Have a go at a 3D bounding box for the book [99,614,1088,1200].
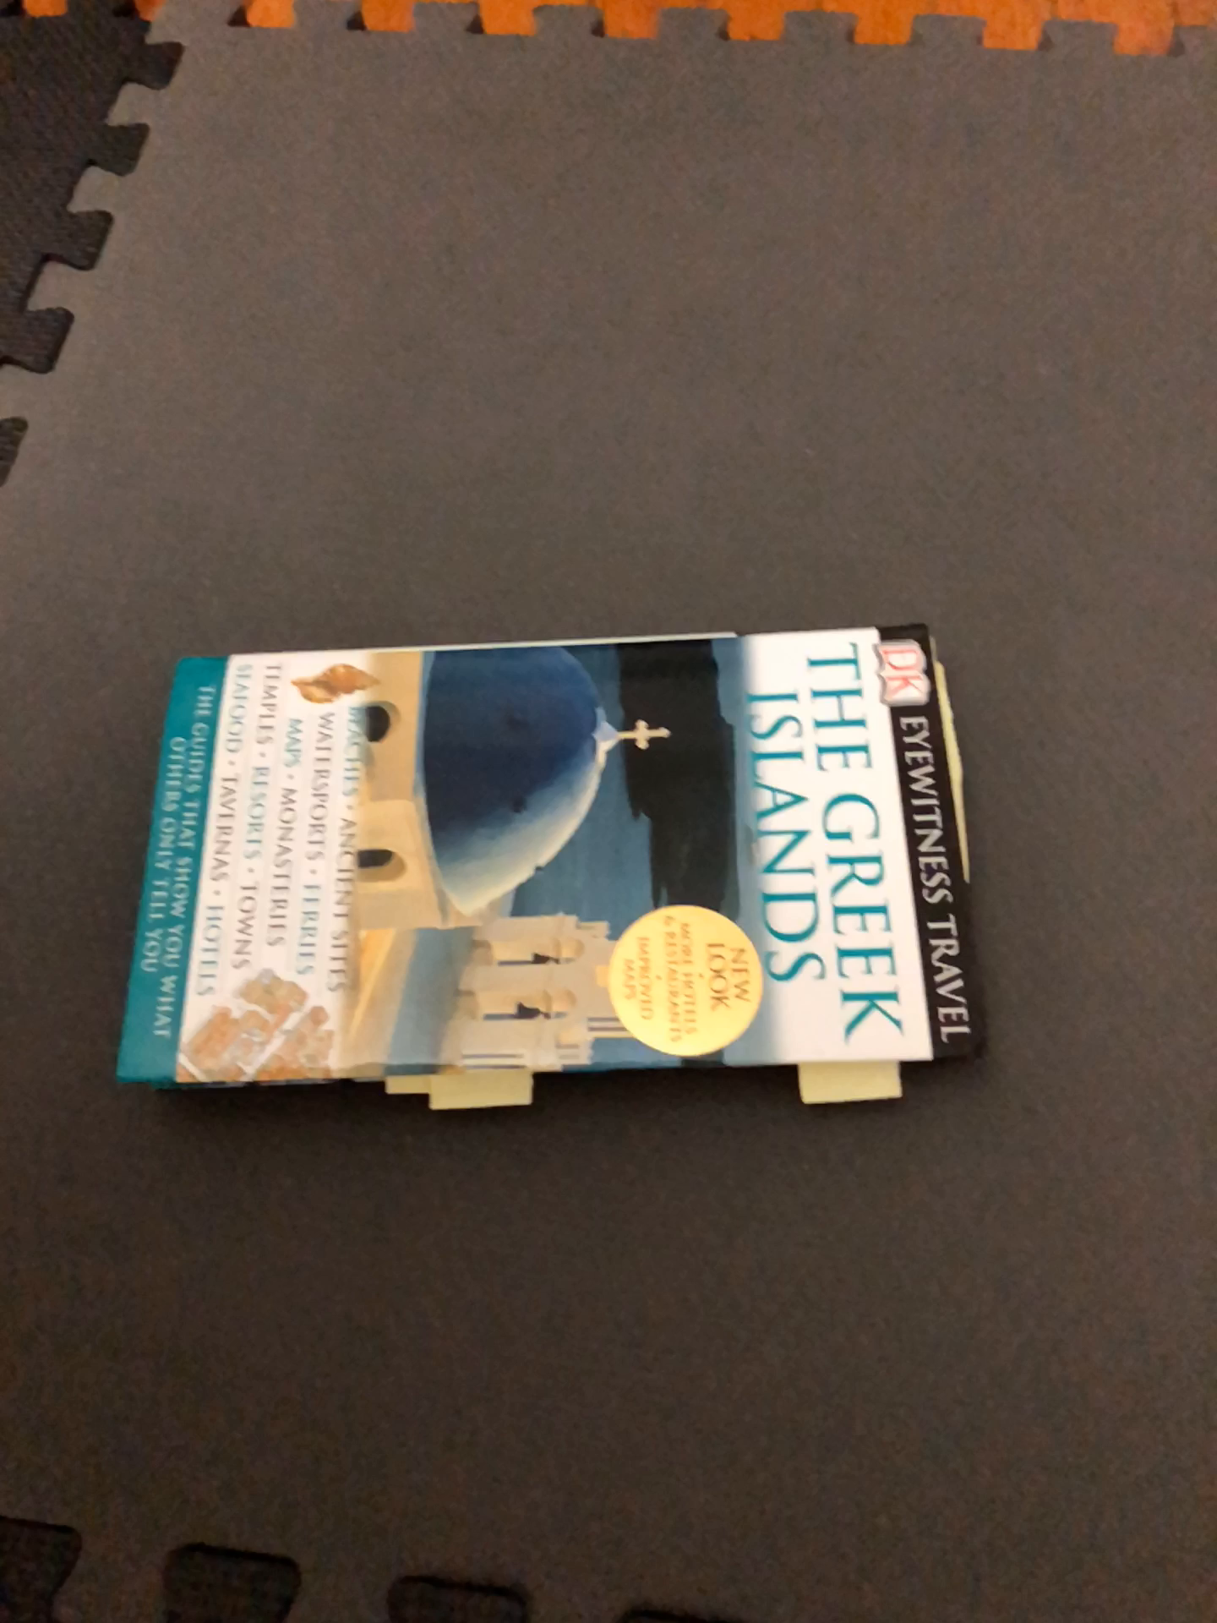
[{"bbox_3d":[-0.005,0.023,0.375,0.240,0.030,0.161,-1,62,2],"label":"book"}]
